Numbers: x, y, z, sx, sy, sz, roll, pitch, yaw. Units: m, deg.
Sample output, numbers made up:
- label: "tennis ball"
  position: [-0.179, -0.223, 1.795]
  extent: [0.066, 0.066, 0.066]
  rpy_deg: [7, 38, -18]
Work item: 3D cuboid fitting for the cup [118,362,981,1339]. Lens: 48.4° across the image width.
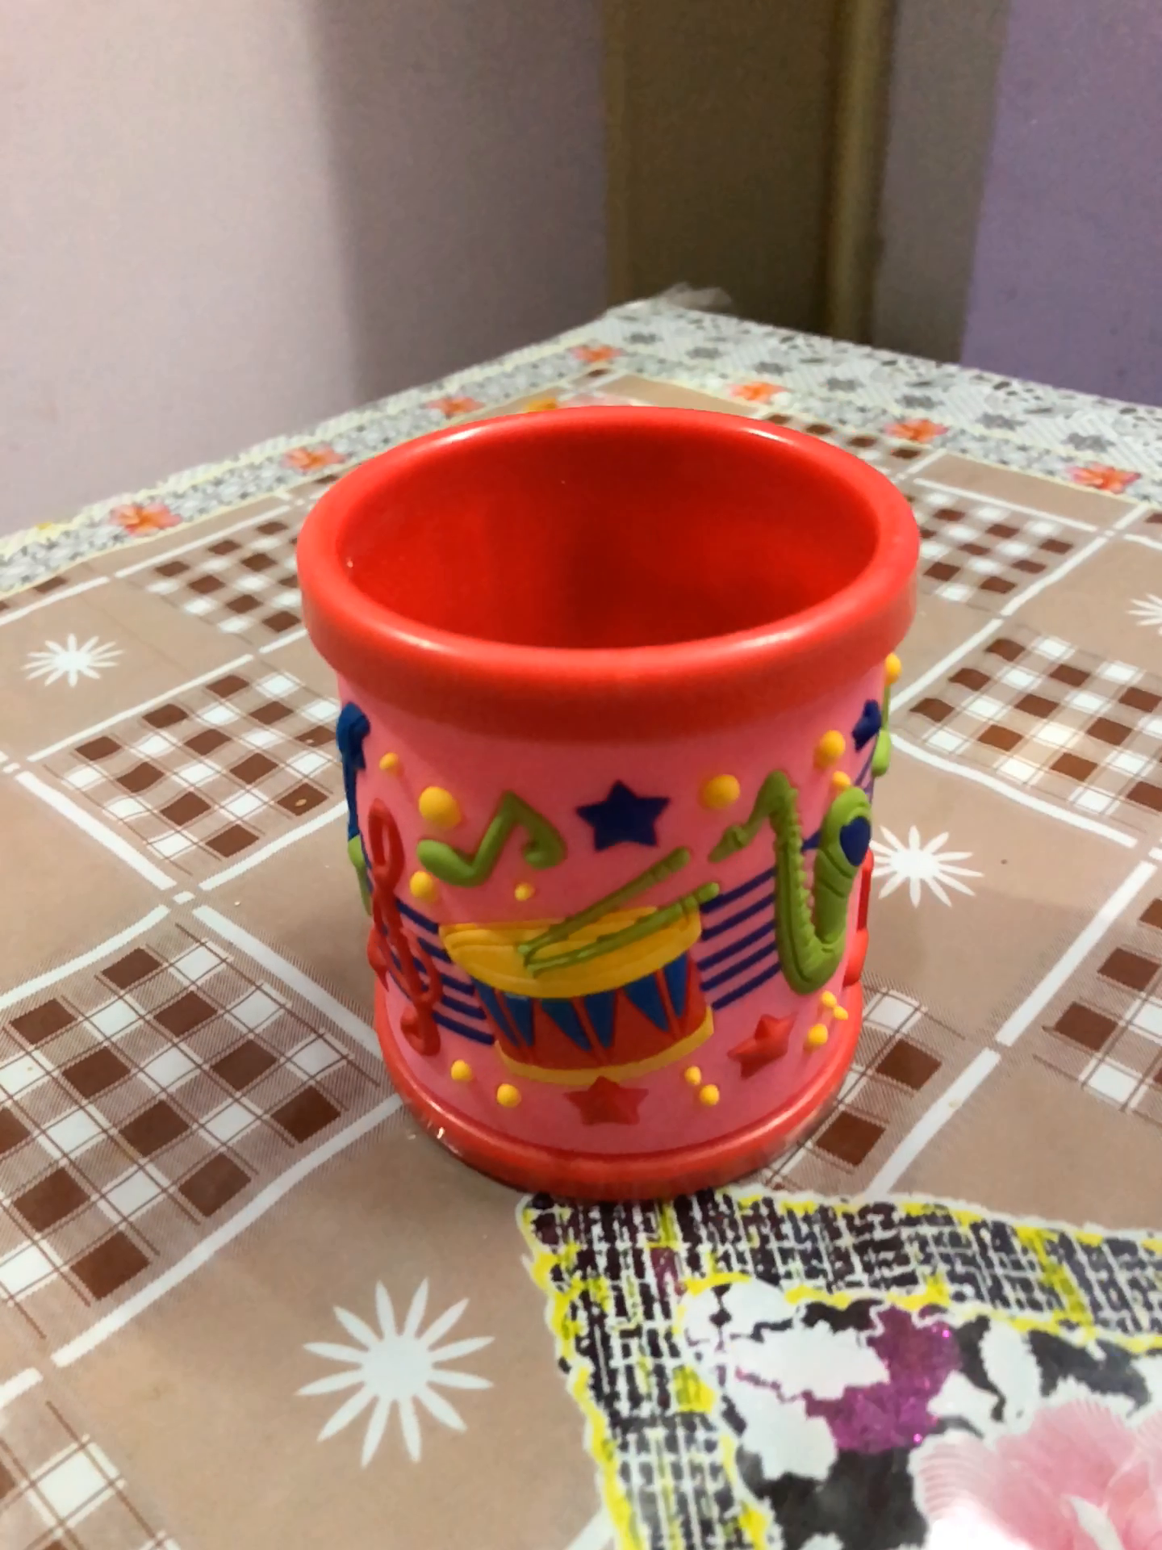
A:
- label: "cup"
  position: [0.000, 0.005, 0.195]
  extent: [0.080, 0.099, 0.080]
  rpy_deg: [-1, 35, 1]
